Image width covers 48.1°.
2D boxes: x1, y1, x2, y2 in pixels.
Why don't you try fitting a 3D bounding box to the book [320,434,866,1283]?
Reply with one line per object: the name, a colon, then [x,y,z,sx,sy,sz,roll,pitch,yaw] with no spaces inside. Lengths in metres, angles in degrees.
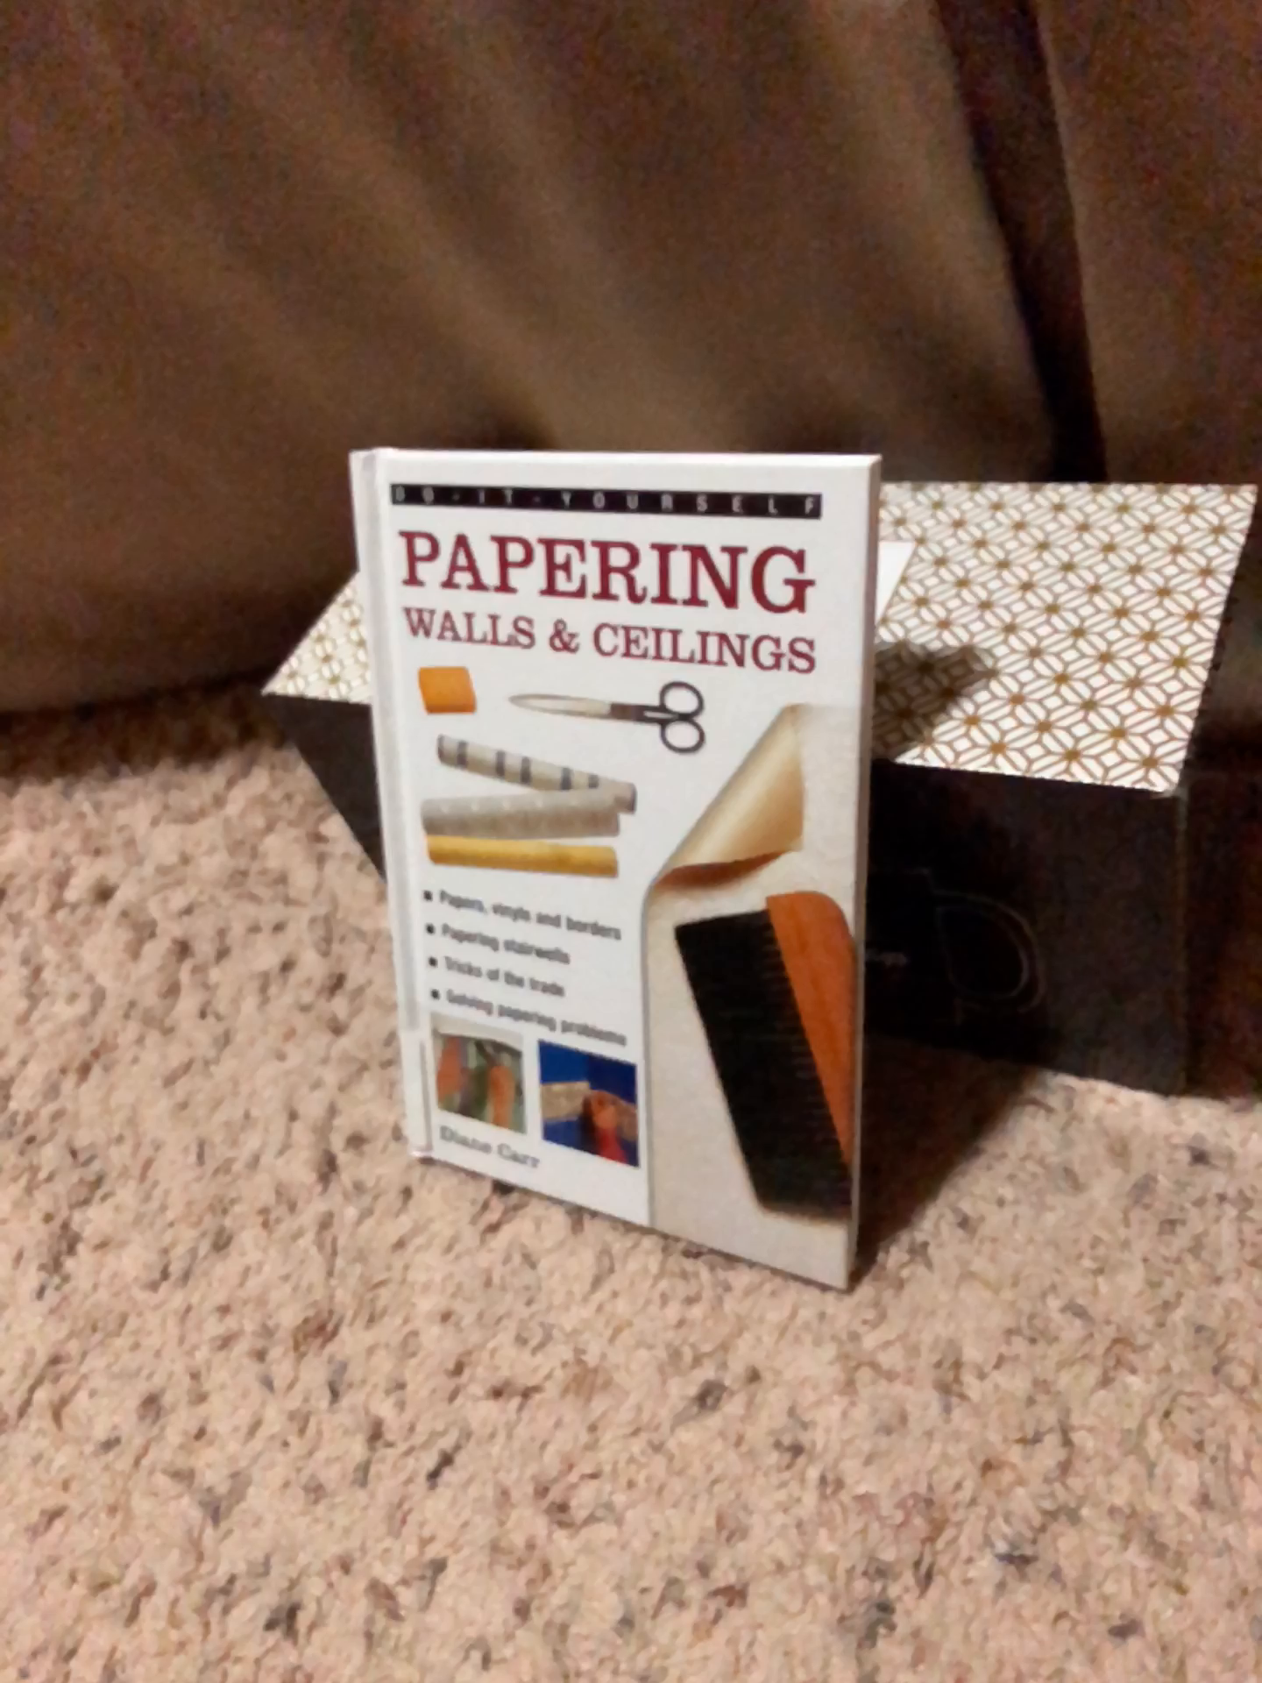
book: [-0.011,0.002,0.367,0.143,0.207,0.015,9,22,30]
